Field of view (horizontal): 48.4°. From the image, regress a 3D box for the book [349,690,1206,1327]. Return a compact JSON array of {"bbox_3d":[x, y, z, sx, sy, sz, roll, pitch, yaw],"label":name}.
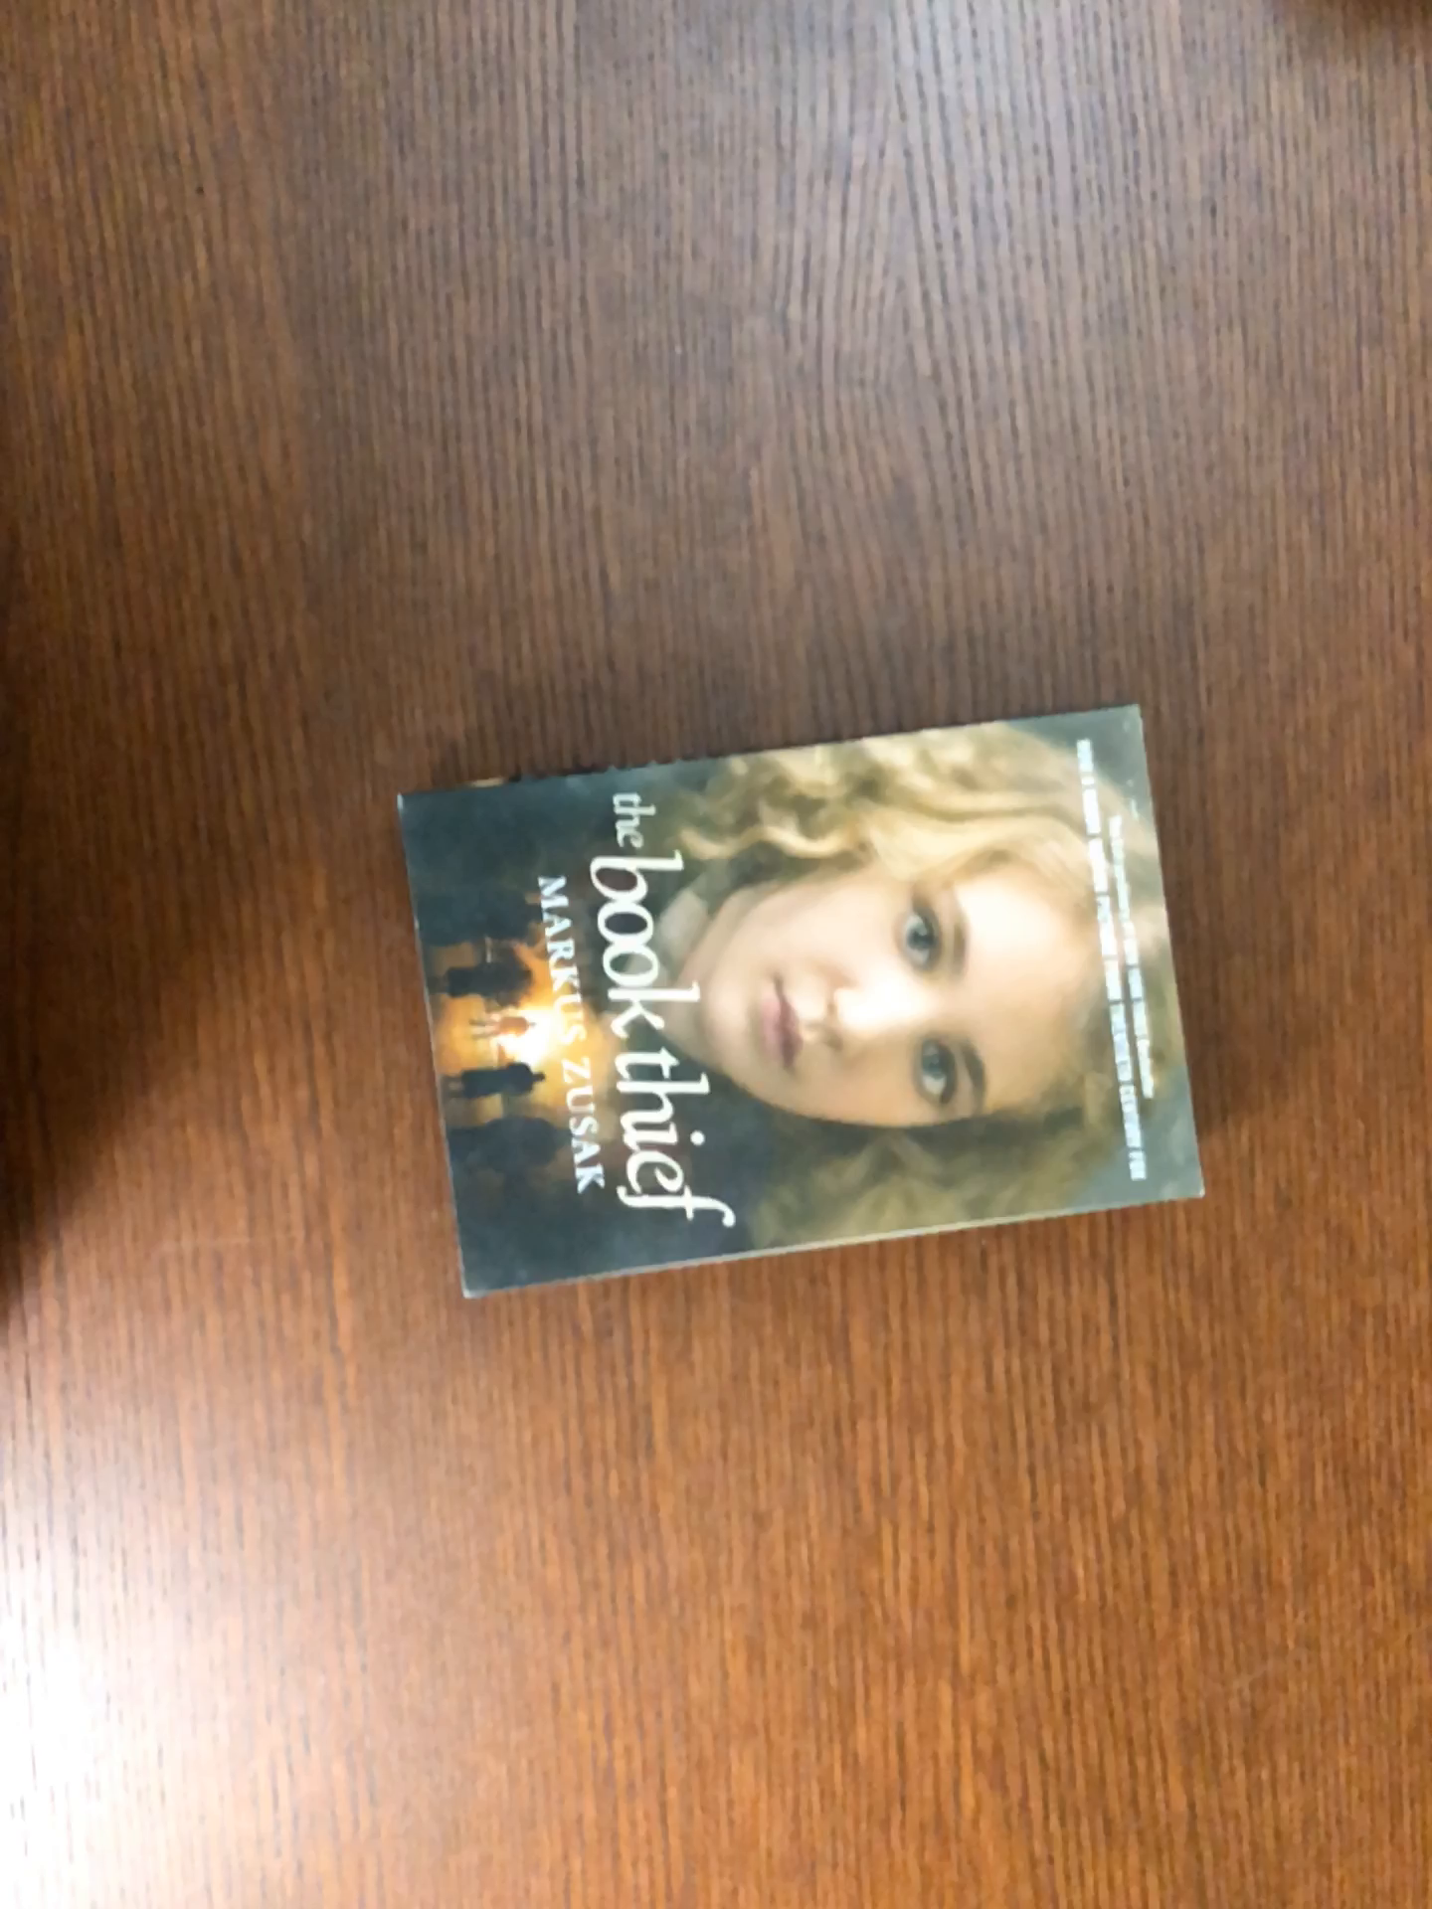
[{"bbox_3d":[0.018,0.014,0.454,0.220,0.030,0.150,-7,91,-1],"label":"book"}]
